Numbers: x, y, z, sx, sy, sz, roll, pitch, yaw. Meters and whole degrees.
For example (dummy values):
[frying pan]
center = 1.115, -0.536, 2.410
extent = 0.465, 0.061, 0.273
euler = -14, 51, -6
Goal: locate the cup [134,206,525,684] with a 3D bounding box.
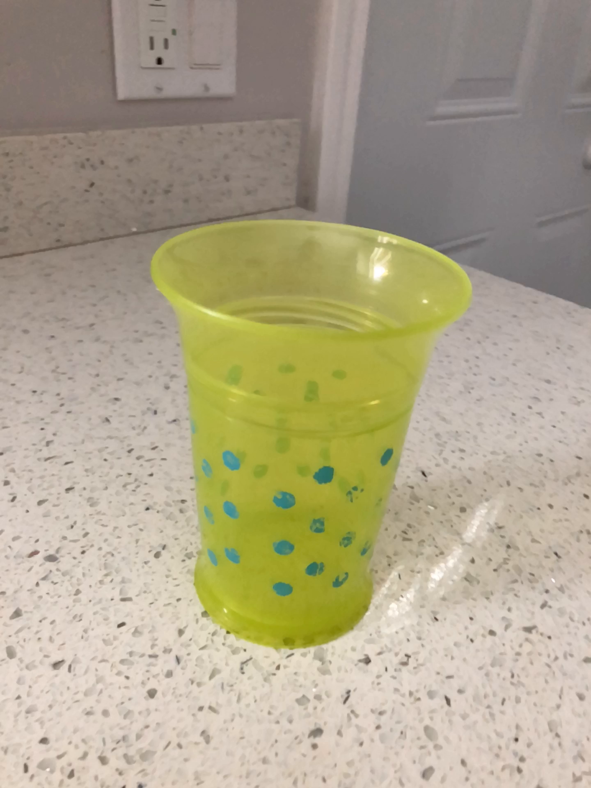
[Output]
[cup]
center = 0.000, 0.010, 0.197
extent = 0.078, 0.109, 0.073
euler = 4, 31, -2
